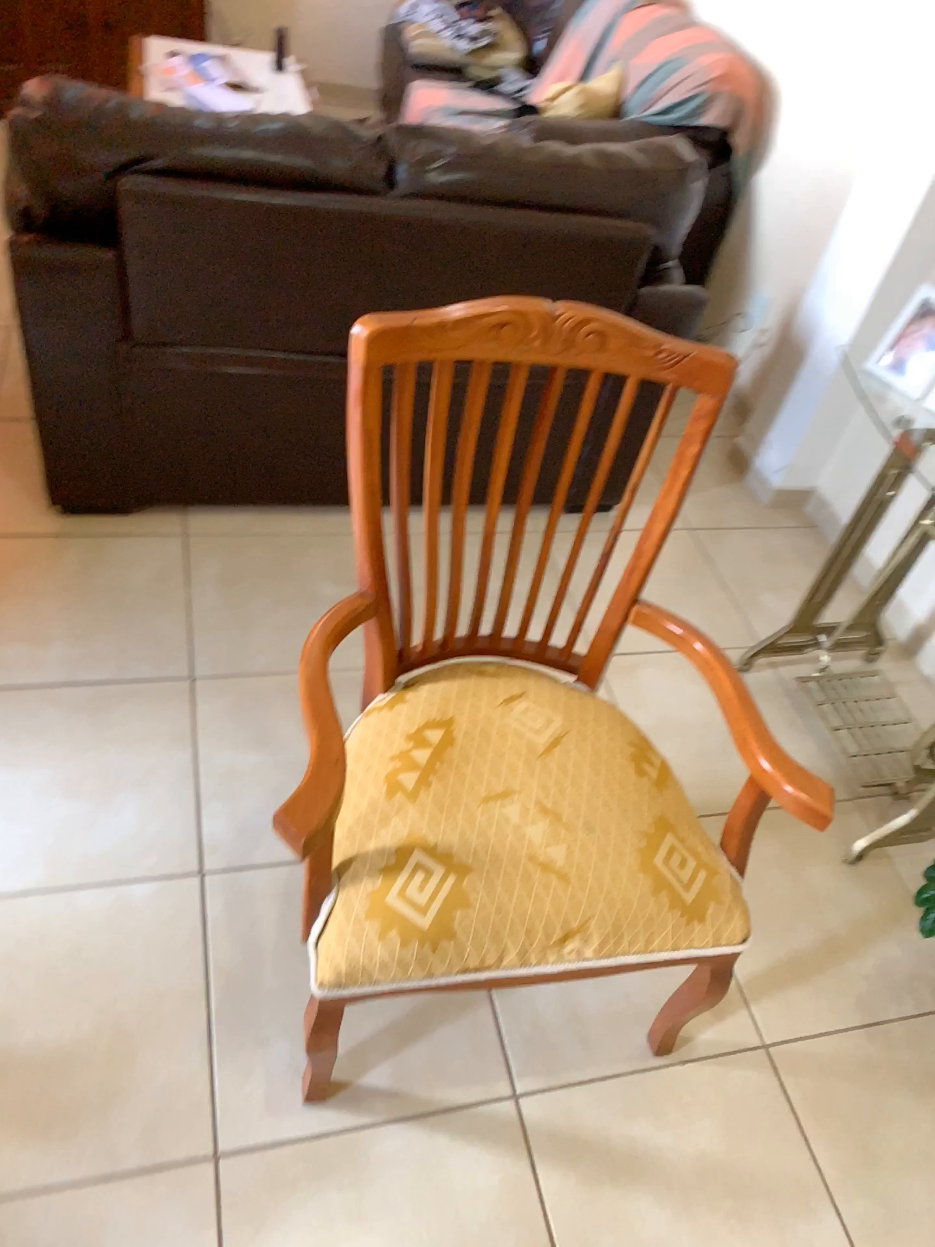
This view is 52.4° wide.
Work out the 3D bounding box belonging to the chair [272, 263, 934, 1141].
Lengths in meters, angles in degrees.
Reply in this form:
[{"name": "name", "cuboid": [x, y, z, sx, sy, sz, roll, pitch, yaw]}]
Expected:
[{"name": "chair", "cuboid": [0.086, 0.158, 1.327, 0.621, 1.015, 0.633, 0, 45, -16]}]
